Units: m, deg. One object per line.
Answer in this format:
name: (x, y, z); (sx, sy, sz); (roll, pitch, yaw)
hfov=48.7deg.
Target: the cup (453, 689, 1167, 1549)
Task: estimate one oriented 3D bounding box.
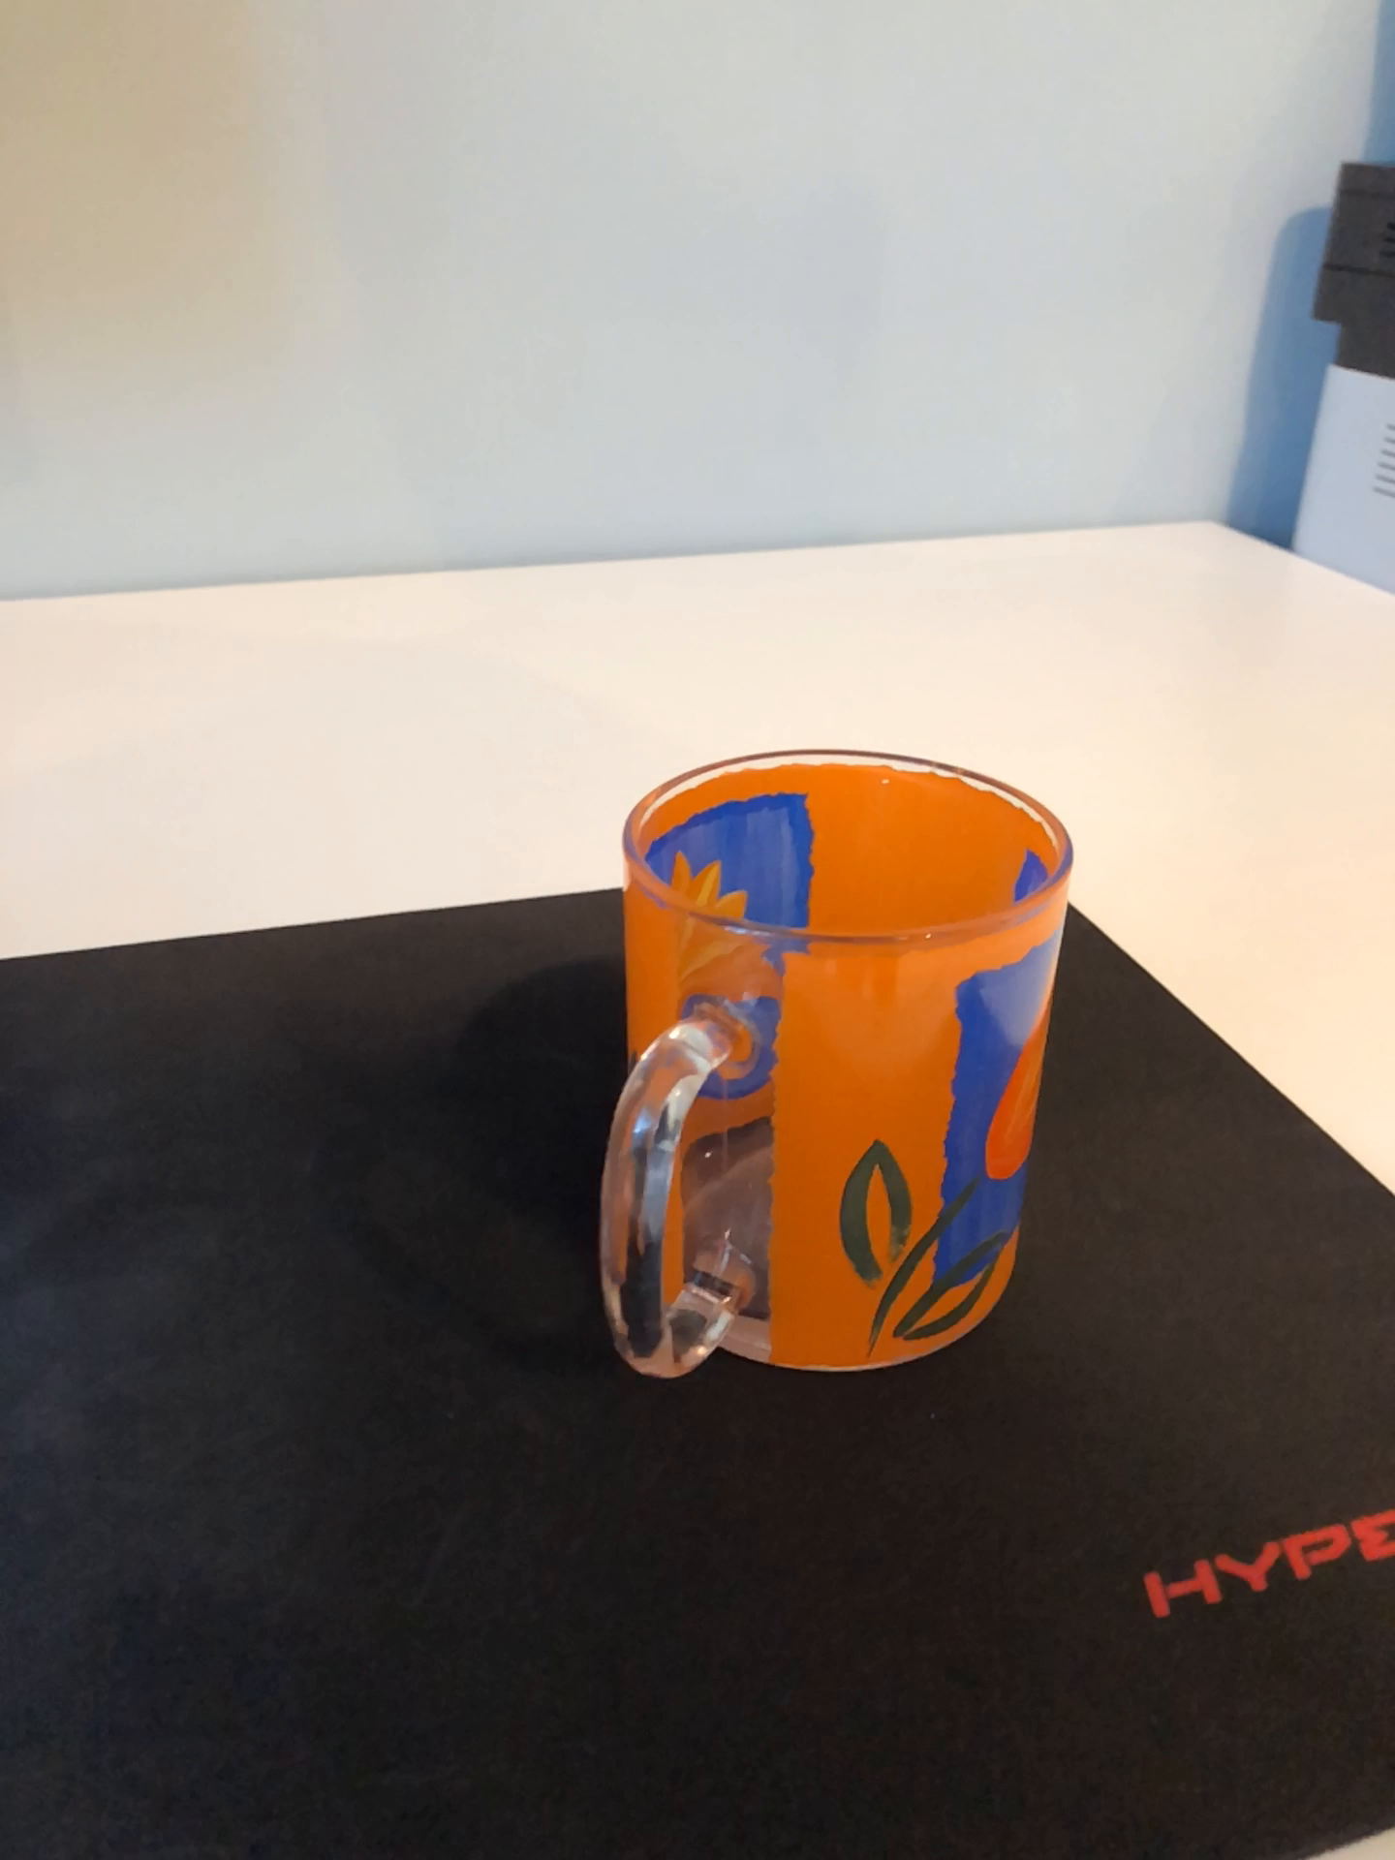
cup: (0.024, 0.023, 0.275); (0.075, 0.089, 0.114); (16, 31, 25)
